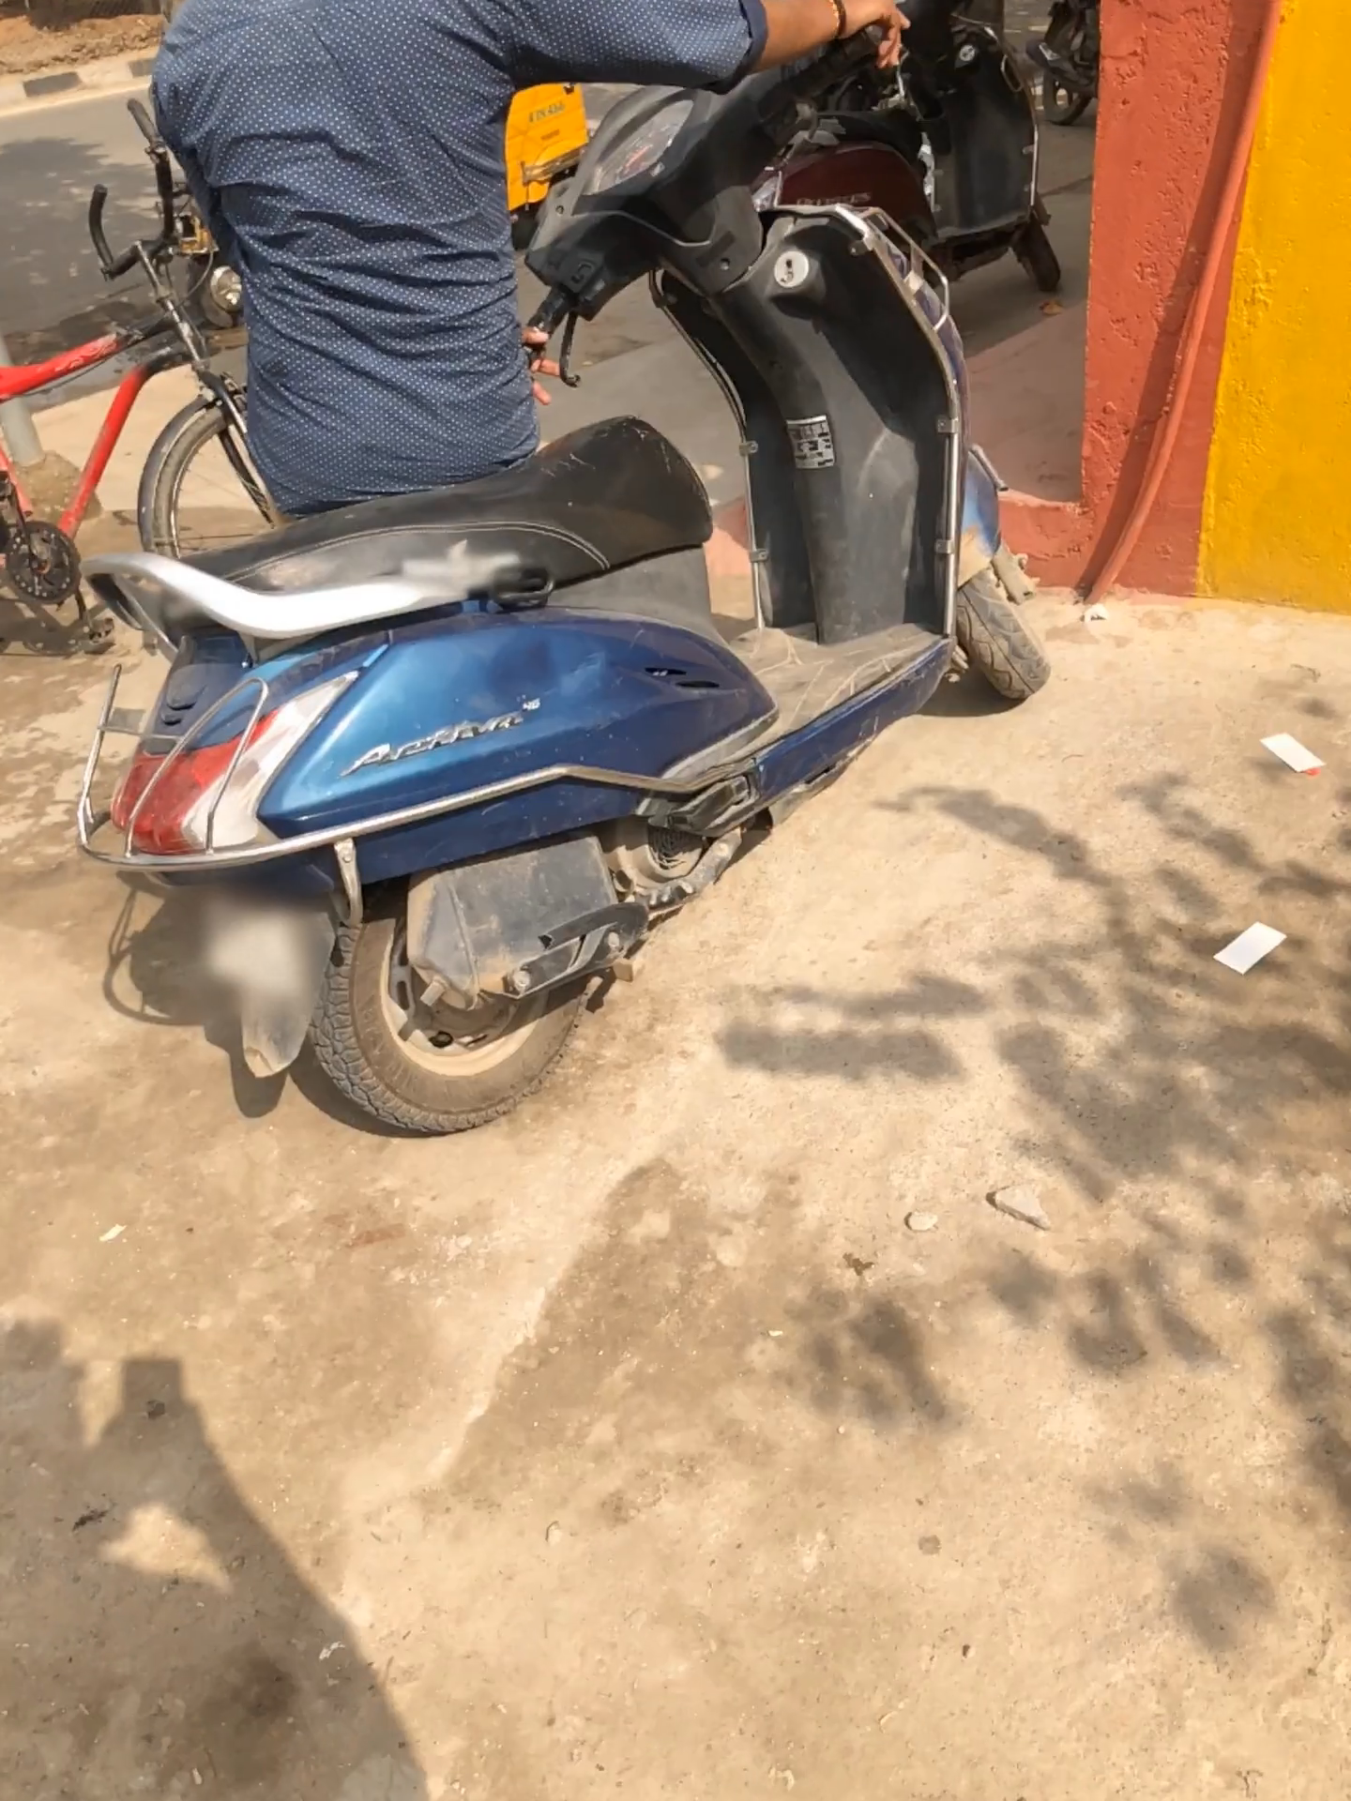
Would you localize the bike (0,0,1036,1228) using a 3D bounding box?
[{"bbox_3d":[-0.107,-0.583,2.267,0.625,1.188,1.641,20,43,31],"label":"bike"}]
